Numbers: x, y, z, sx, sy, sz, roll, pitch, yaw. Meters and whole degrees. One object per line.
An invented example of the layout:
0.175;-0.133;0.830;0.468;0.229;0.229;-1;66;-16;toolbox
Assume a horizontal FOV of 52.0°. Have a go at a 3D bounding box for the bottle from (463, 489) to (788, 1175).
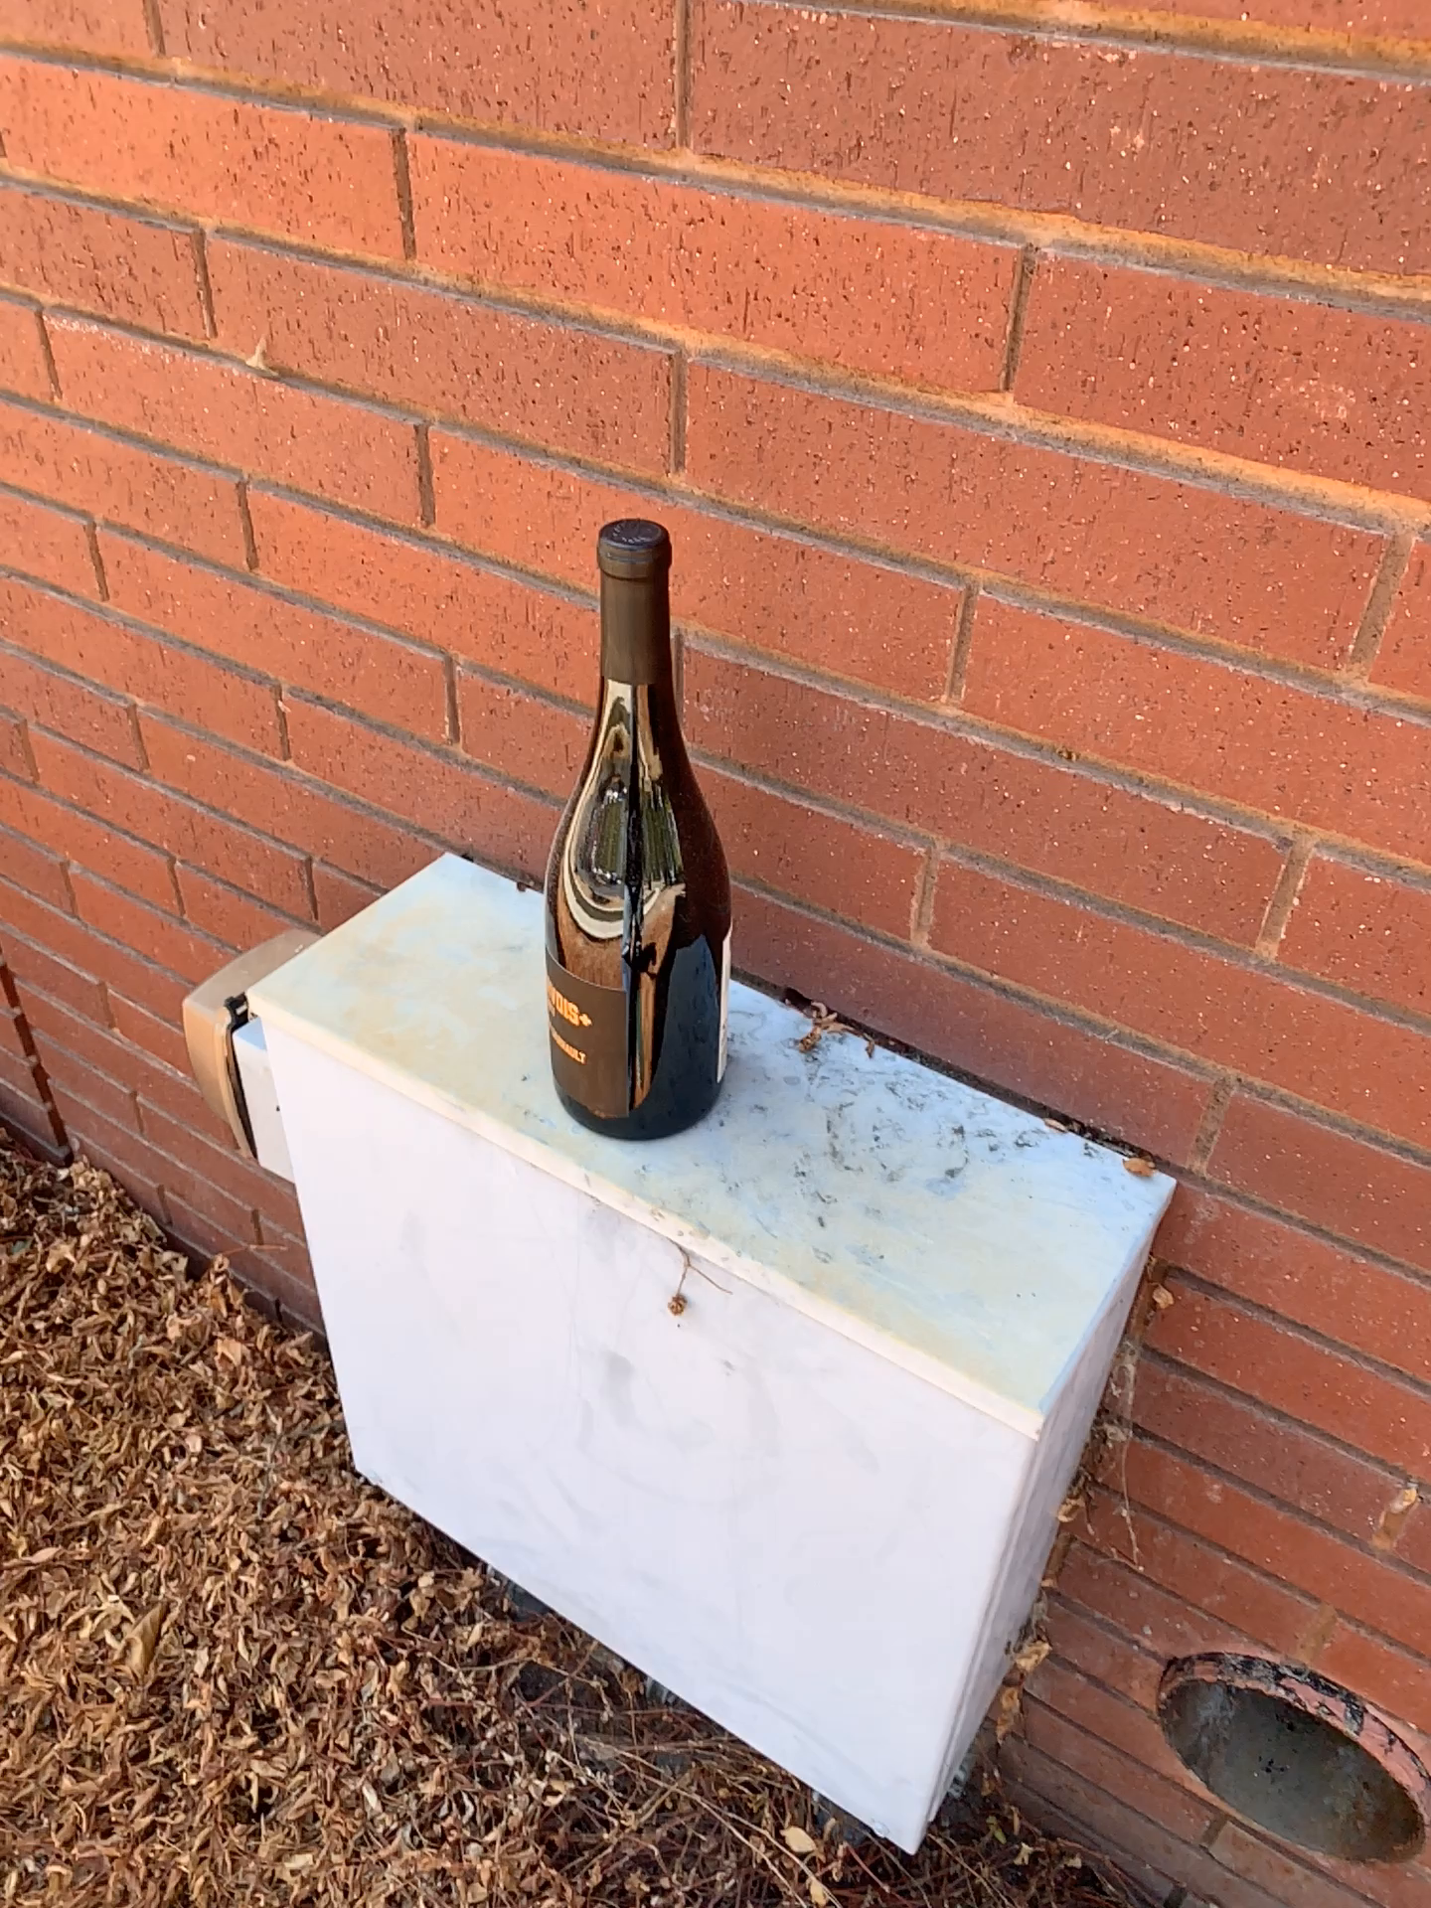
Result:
-0.041;-0.044;0.629;0.090;0.268;0.101;-14;42;-20;bottle
